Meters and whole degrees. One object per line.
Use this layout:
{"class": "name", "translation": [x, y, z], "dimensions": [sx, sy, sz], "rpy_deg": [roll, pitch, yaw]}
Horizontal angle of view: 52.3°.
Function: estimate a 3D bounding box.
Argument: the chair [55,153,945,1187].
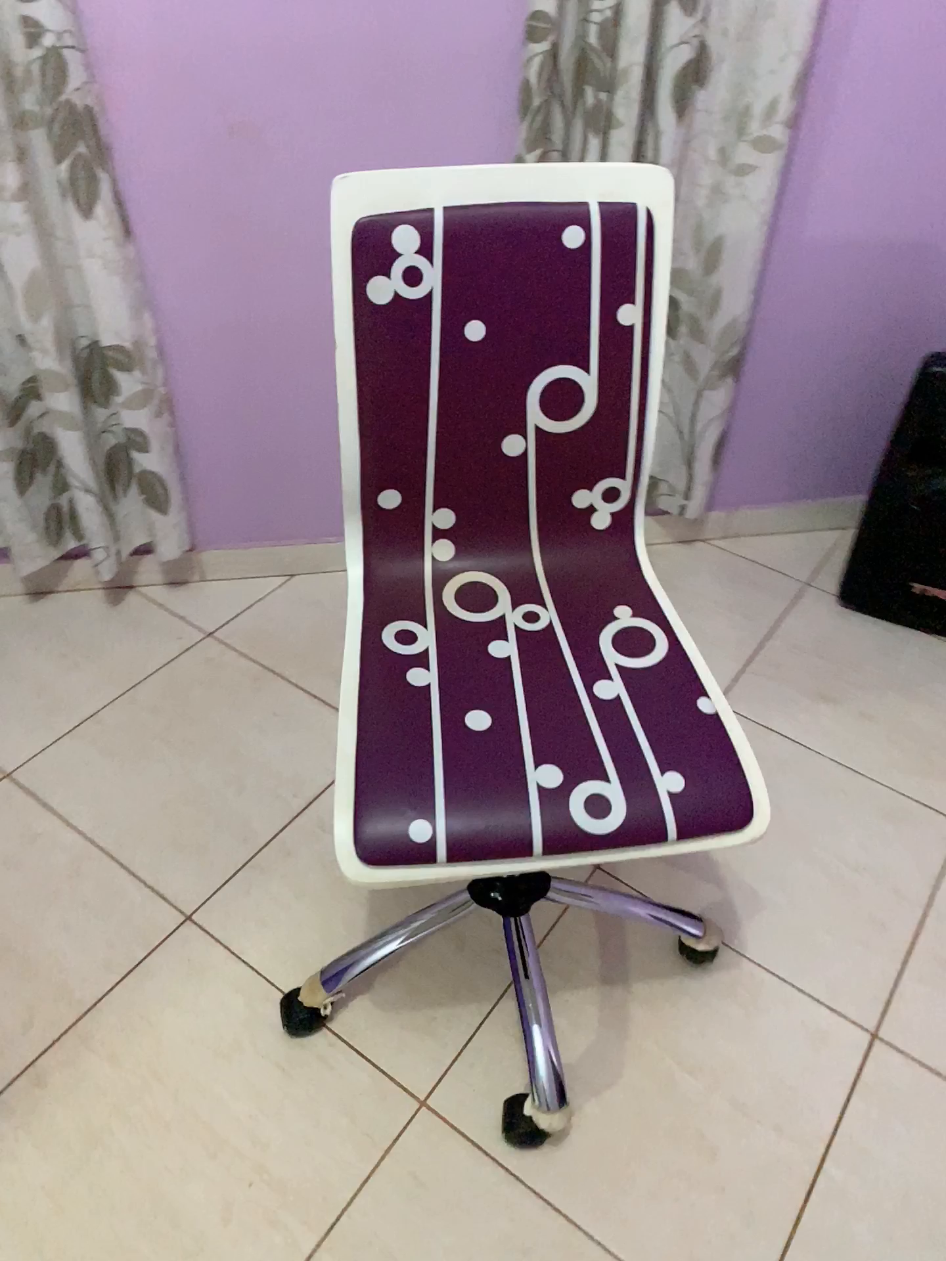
{"class": "chair", "translation": [0.070, 0.085, 1.114], "dimensions": [0.685, 1.005, 0.625], "rpy_deg": [-2, 42, -5]}
